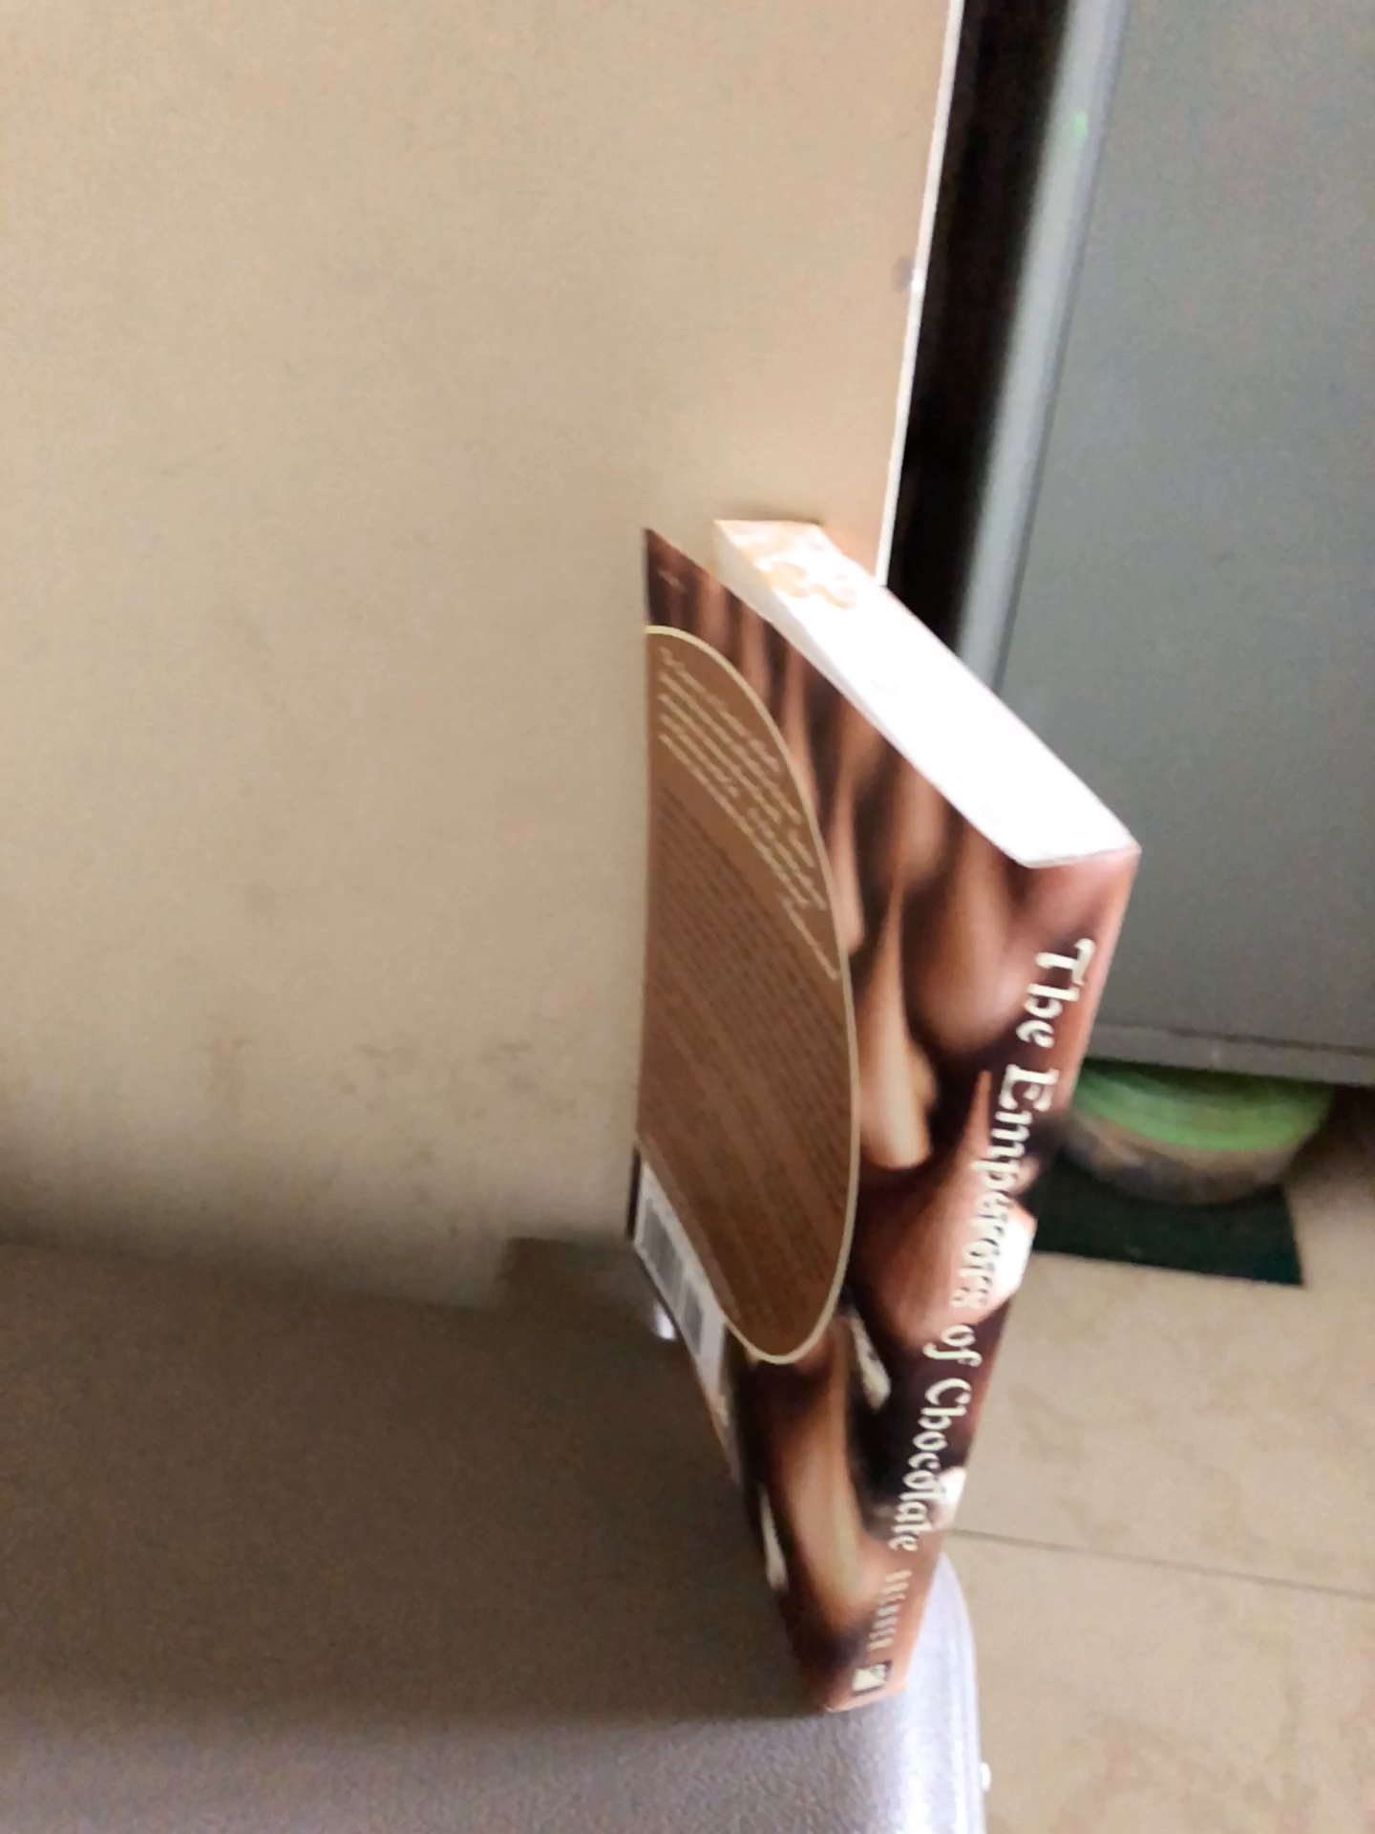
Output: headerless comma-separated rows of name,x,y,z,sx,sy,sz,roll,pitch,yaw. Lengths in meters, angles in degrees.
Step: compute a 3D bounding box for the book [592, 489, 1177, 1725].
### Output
book,0.020,0.034,0.325,0.040,0.199,0.161,-8,34,-16
